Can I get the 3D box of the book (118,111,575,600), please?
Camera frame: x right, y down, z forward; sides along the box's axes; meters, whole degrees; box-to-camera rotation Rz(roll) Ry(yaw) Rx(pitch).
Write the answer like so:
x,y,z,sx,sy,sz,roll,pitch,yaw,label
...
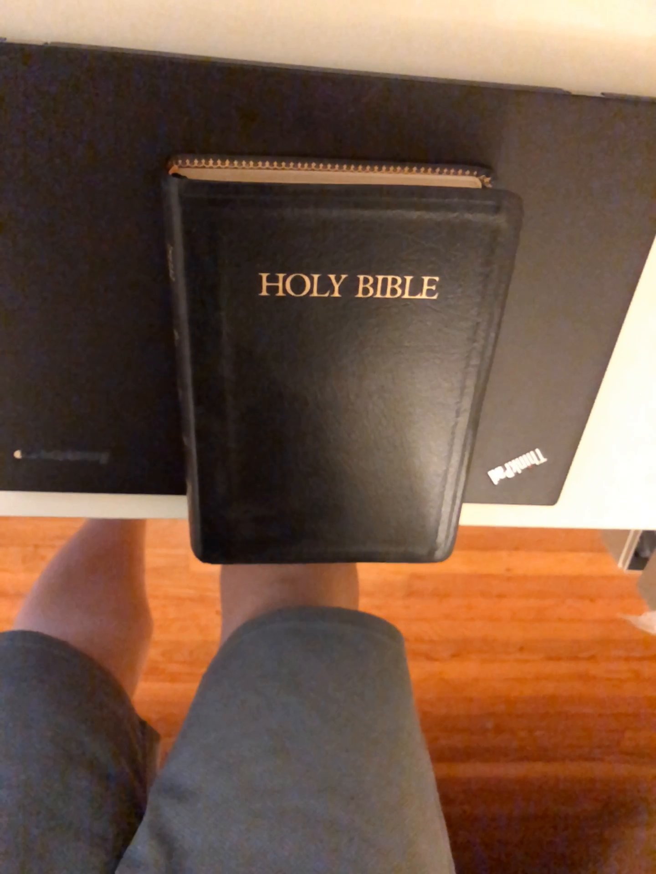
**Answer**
x,y,z,sx,sy,sz,roll,pitch,yaw,label
0.001,-0.021,0.354,0.170,0.040,0.241,1,124,-5,book
